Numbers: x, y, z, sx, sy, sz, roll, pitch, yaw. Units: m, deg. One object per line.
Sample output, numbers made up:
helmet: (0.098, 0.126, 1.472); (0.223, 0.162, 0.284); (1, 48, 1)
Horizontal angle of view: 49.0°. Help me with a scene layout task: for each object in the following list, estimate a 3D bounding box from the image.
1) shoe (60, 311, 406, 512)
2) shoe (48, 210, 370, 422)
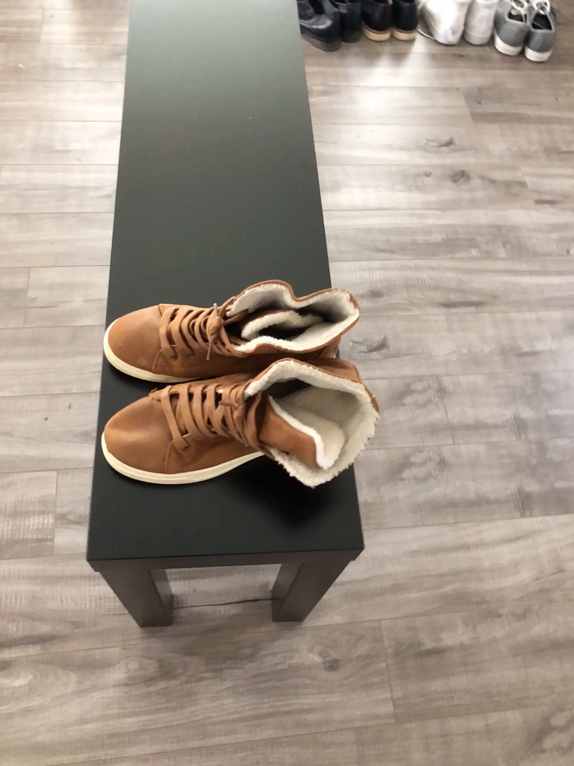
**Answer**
shoe: (-0.049, 0.028, 0.559); (0.260, 0.140, 0.110); (-4, 62, -9)
shoe: (-0.066, -0.056, 0.601); (0.260, 0.150, 0.110); (5, 61, -4)
